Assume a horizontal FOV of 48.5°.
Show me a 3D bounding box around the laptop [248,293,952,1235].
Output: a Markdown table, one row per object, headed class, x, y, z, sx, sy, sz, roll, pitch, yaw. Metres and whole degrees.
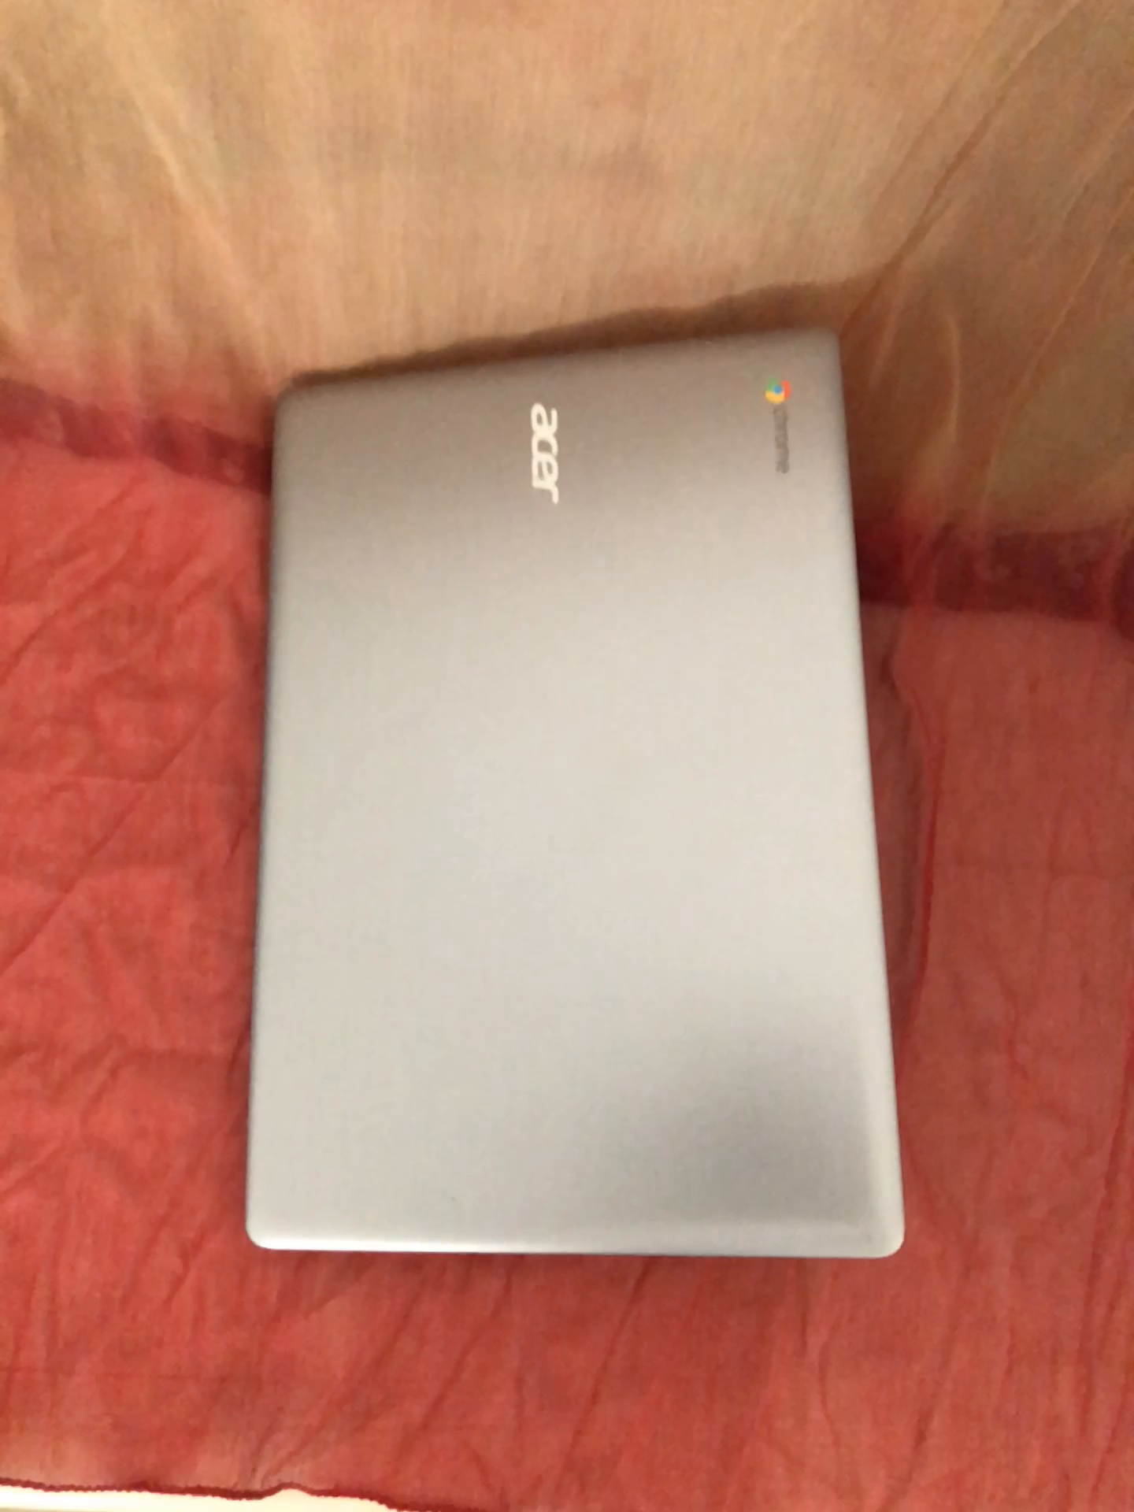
| class | x | y | z | sx | sy | sz | roll | pitch | yaw |
| --- | --- | --- | --- | --- | --- | --- | --- | --- | --- |
| laptop | 0.007 | -0.002 | 0.456 | 0.219 | 0.066 | 0.322 | 0 | 78 | -2 |
